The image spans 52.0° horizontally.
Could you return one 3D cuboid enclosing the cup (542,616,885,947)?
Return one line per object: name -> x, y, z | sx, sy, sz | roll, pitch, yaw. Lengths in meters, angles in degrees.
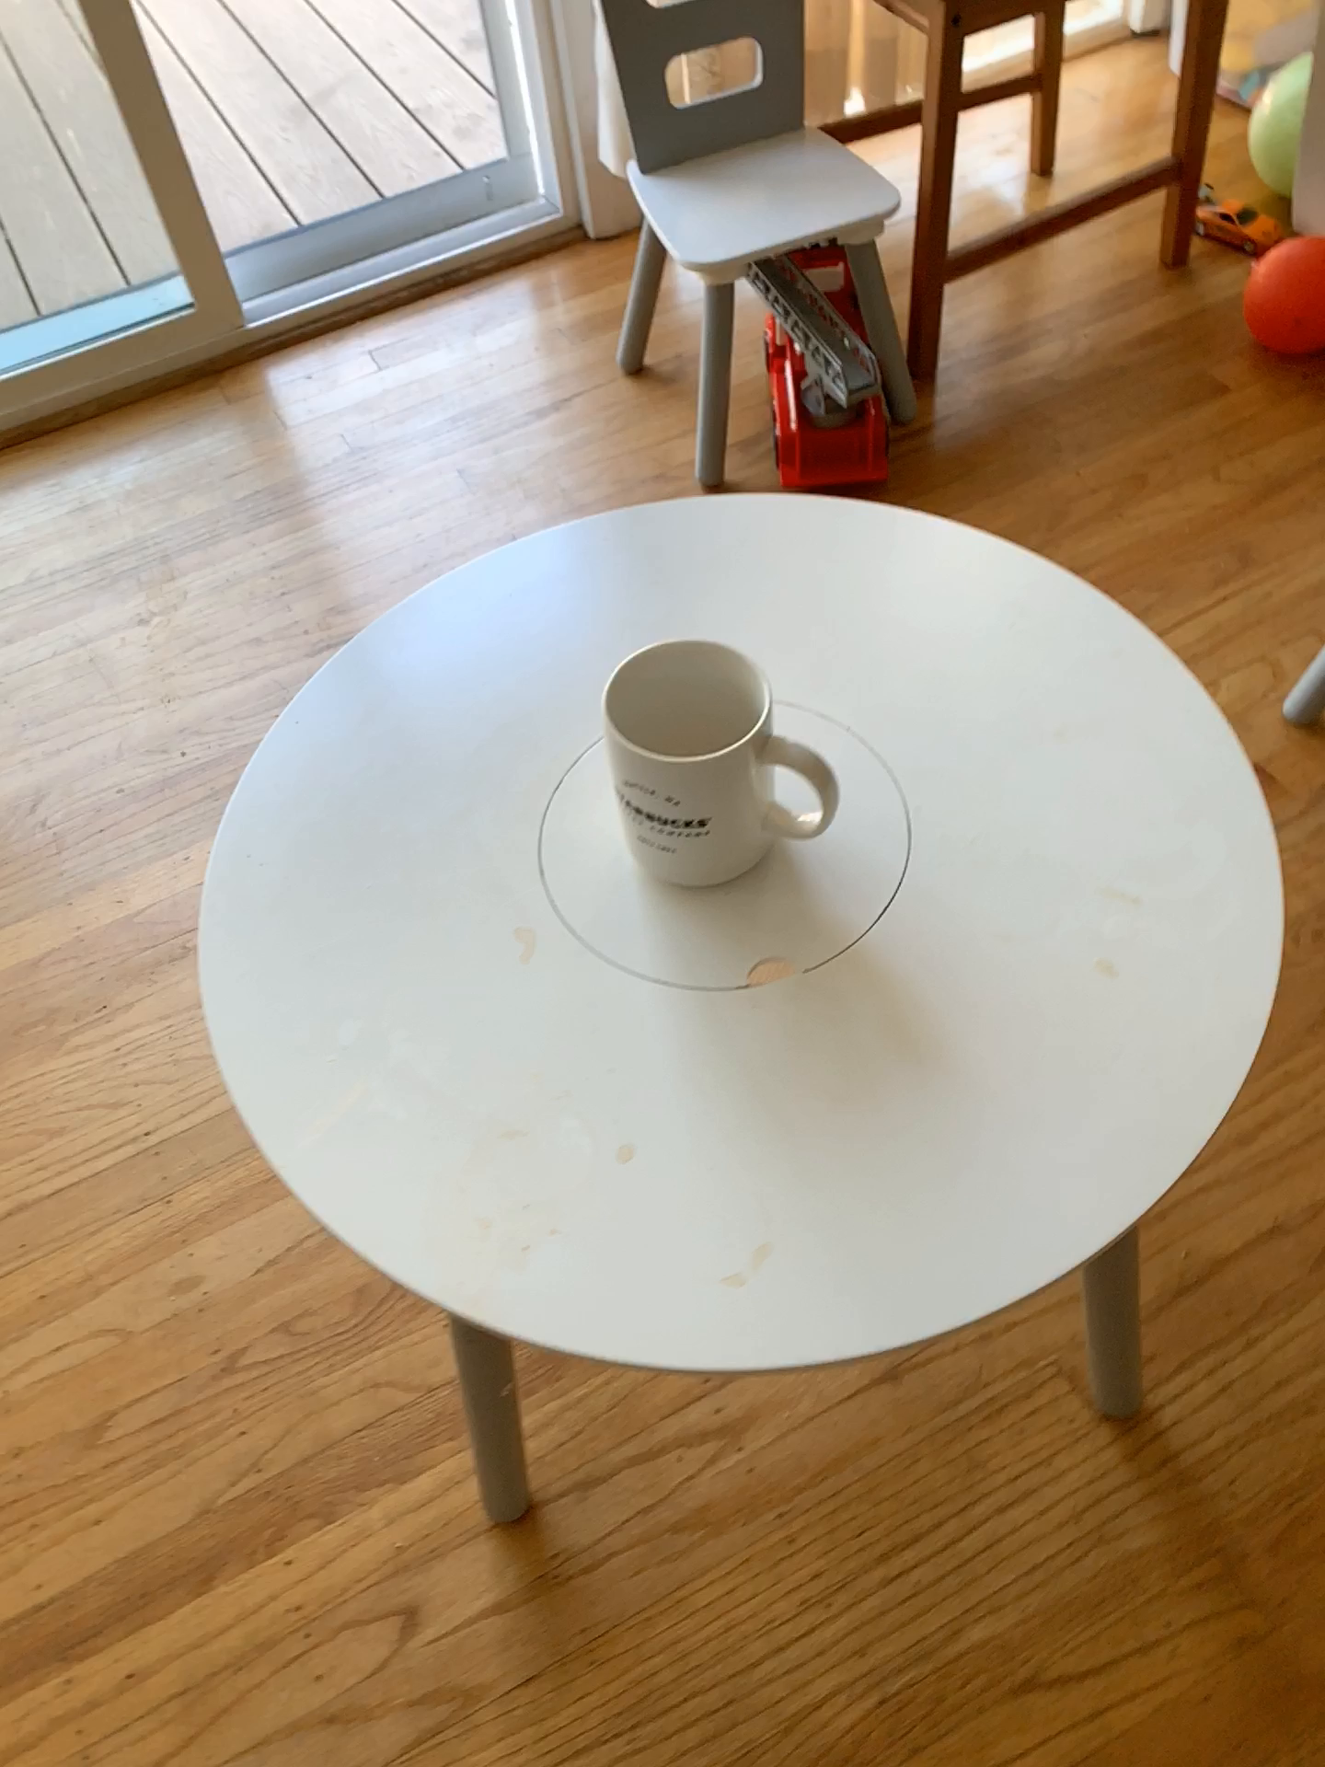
cup -> 0.030, -0.051, 0.684 | 0.140, 0.110, 0.090 | 14, 57, 16
